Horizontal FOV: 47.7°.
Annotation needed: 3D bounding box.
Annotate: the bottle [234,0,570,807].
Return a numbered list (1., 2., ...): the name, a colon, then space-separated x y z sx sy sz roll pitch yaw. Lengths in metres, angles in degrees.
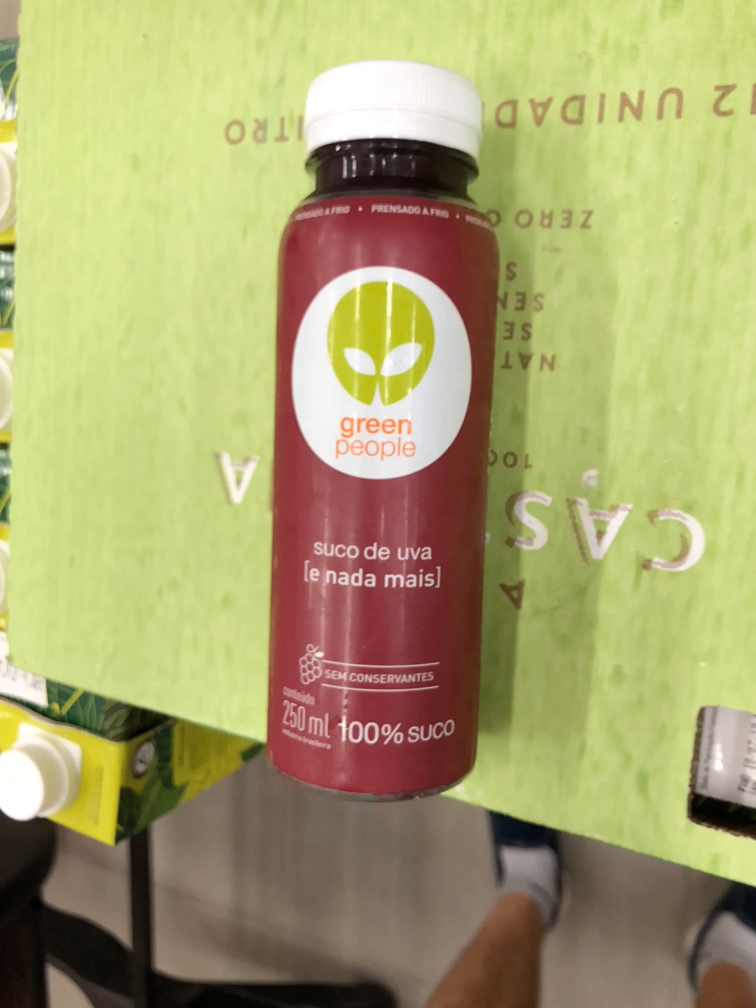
1. bottle: 0.003 -0.025 0.202 0.060 0.060 0.170 3 98 2
